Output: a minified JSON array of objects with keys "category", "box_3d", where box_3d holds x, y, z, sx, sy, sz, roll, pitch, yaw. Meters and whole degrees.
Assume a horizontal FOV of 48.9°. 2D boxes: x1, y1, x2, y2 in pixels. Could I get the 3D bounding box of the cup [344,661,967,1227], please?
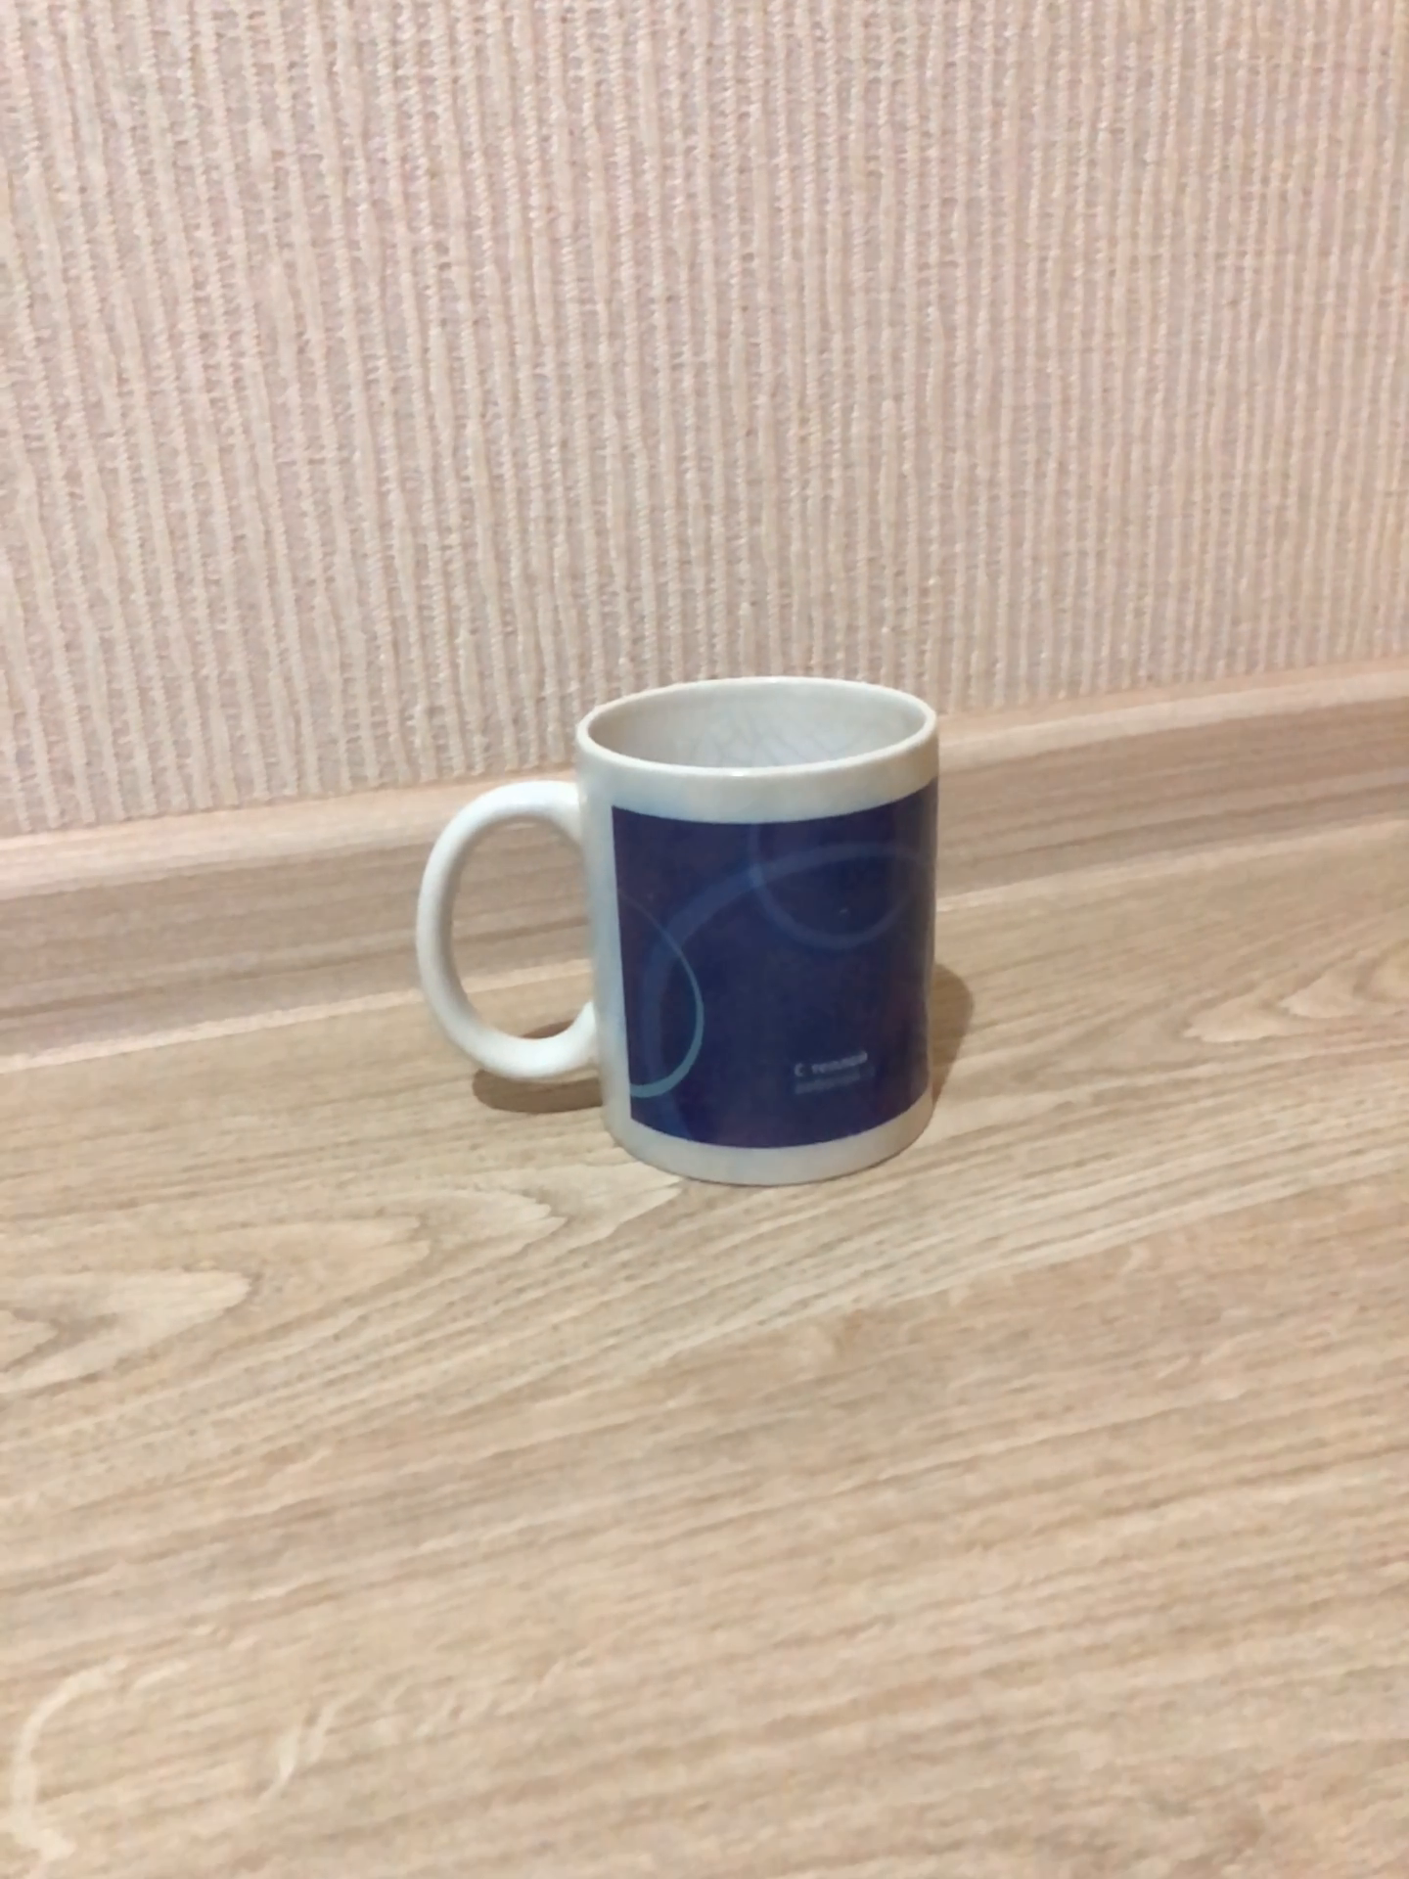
[{"category":"cup","box_3d":[-0.010,-0.004,0.366,0.123,0.099,0.094,-3,21,-3]}]
